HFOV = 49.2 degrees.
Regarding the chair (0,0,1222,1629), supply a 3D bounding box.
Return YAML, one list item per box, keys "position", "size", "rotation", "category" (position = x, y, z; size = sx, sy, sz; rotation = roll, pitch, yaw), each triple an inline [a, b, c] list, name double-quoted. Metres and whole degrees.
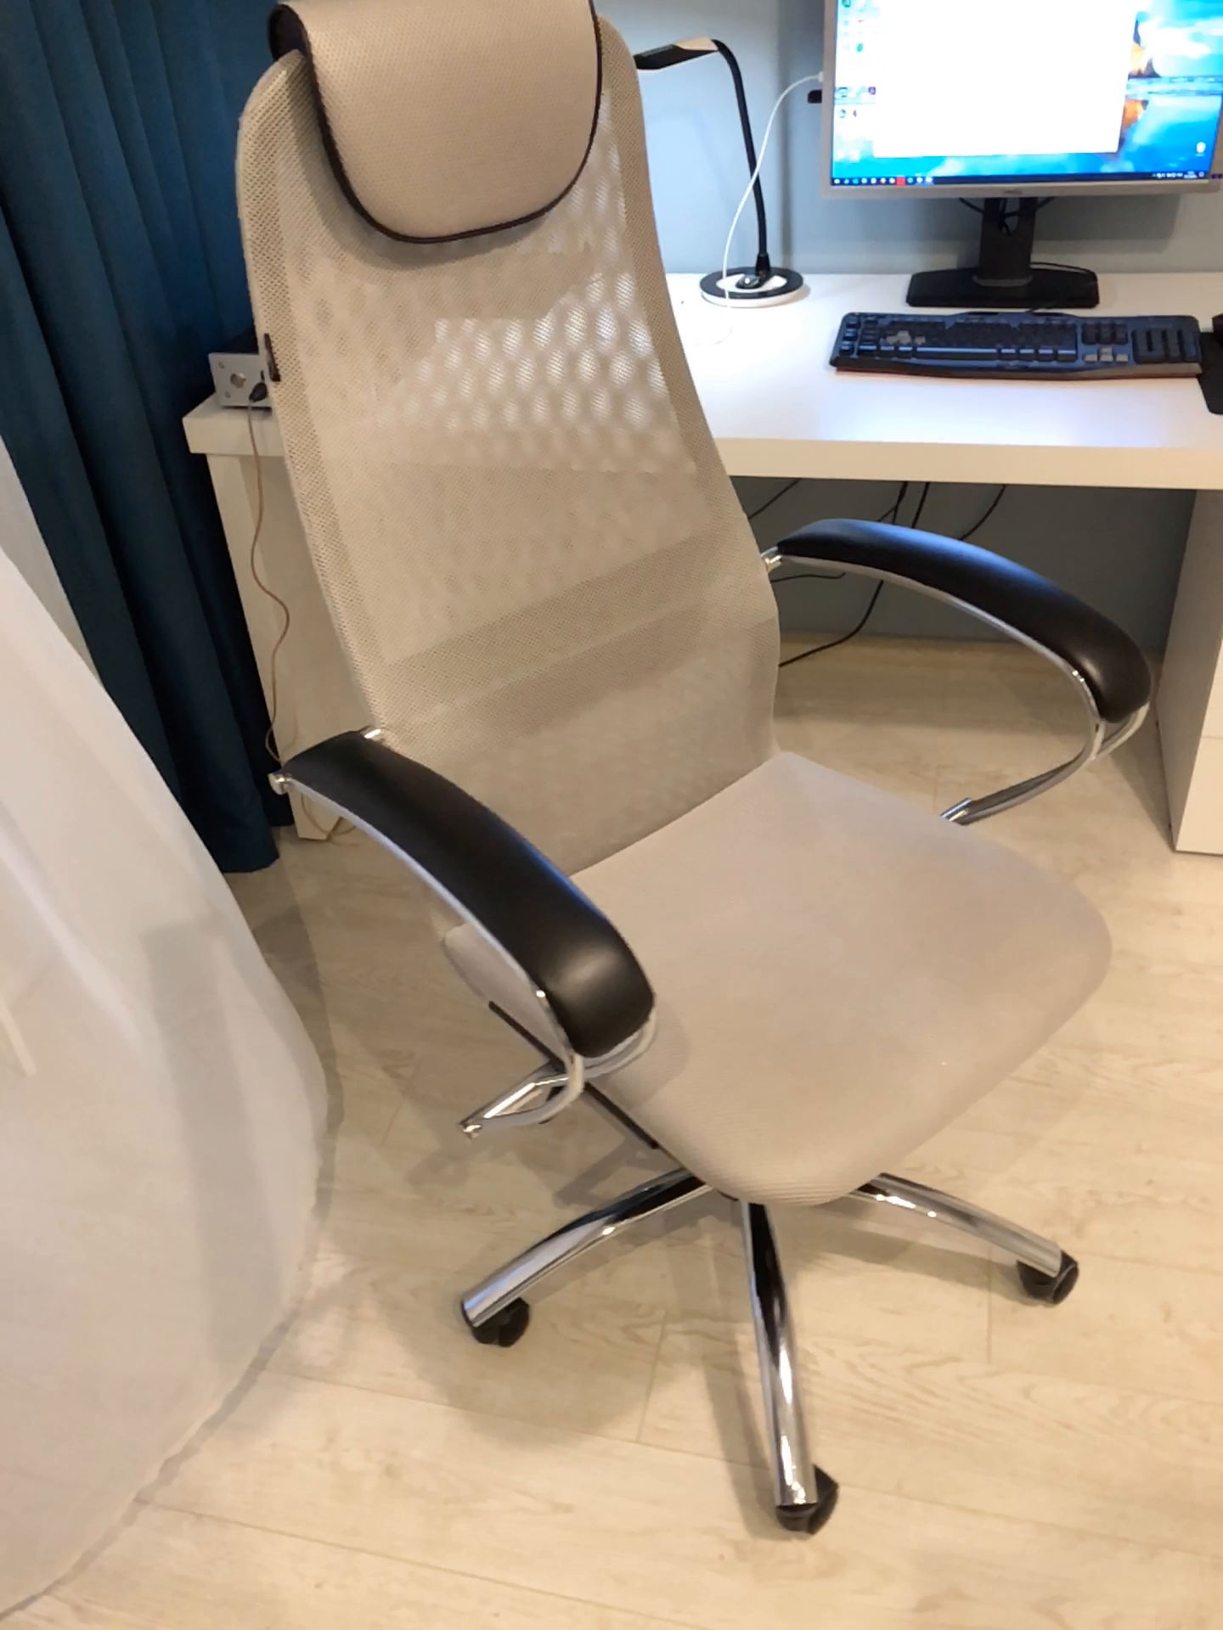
- position: [0.109, 0.000, 1.232]
  size: [0.692, 1.290, 0.683]
  rotation: [-29, 43, -28]
  category: "chair"
